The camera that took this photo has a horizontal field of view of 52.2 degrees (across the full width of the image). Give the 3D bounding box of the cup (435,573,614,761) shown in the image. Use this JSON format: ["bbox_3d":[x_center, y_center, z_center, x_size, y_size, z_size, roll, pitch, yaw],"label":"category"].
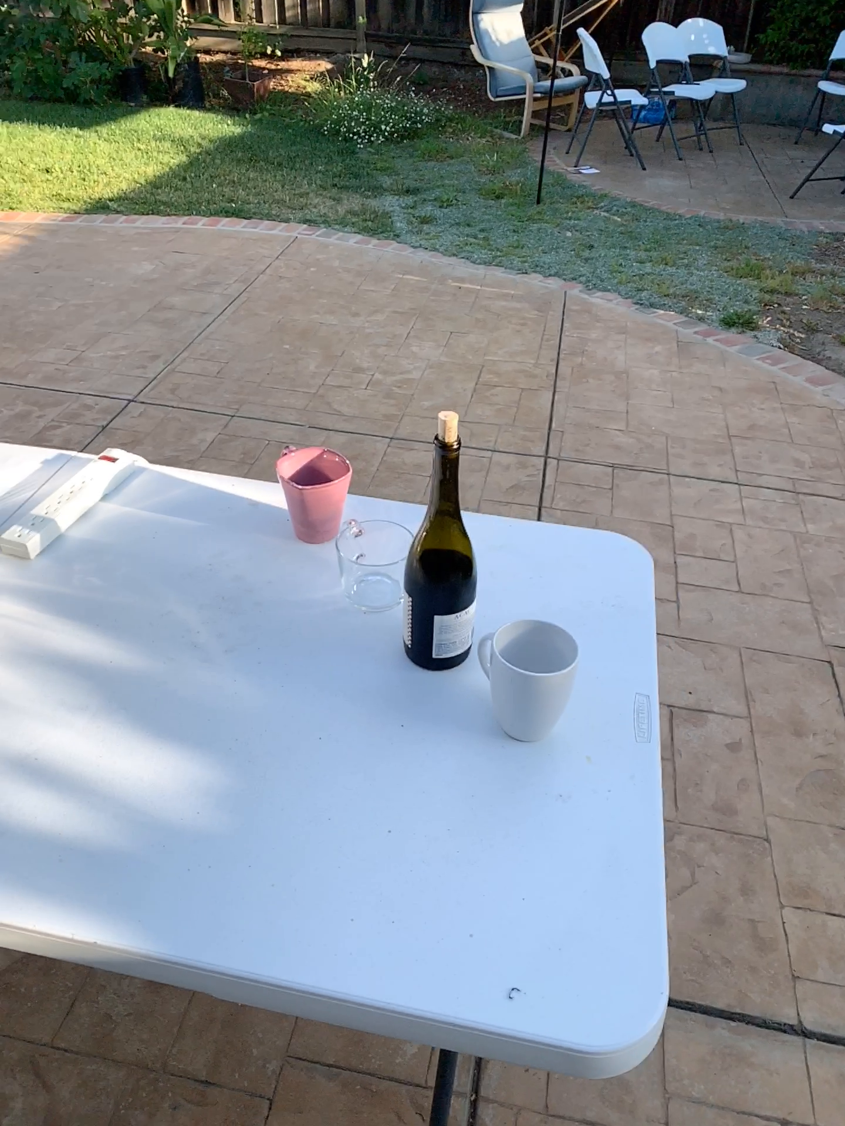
[{"bbox_3d":[0.102,0.104,0.902,0.110,0.099,0.141,-25,44,-31],"label":"cup"}]

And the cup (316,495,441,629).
[{"bbox_3d":[-0.060,-0.005,1.138,0.110,0.089,0.141,-17,41,-24],"label":"cup"}]

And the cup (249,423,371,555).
[{"bbox_3d":[-0.145,-0.098,1.109,0.110,0.089,0.141,-15,40,-22],"label":"cup"}]
